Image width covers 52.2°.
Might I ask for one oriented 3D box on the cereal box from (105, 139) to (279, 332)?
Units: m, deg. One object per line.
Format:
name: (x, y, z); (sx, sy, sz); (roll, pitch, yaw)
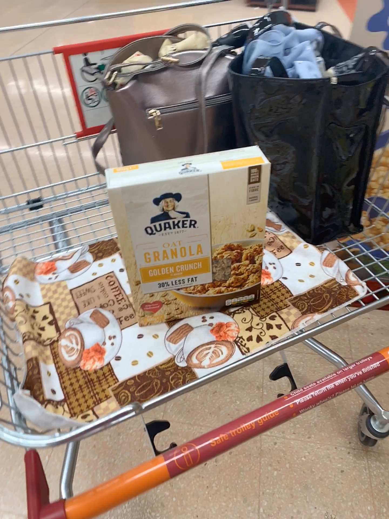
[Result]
cereal box: (0.002, -0.021, 0.556); (0.200, 0.258, 0.050); (-11, 42, -8)
